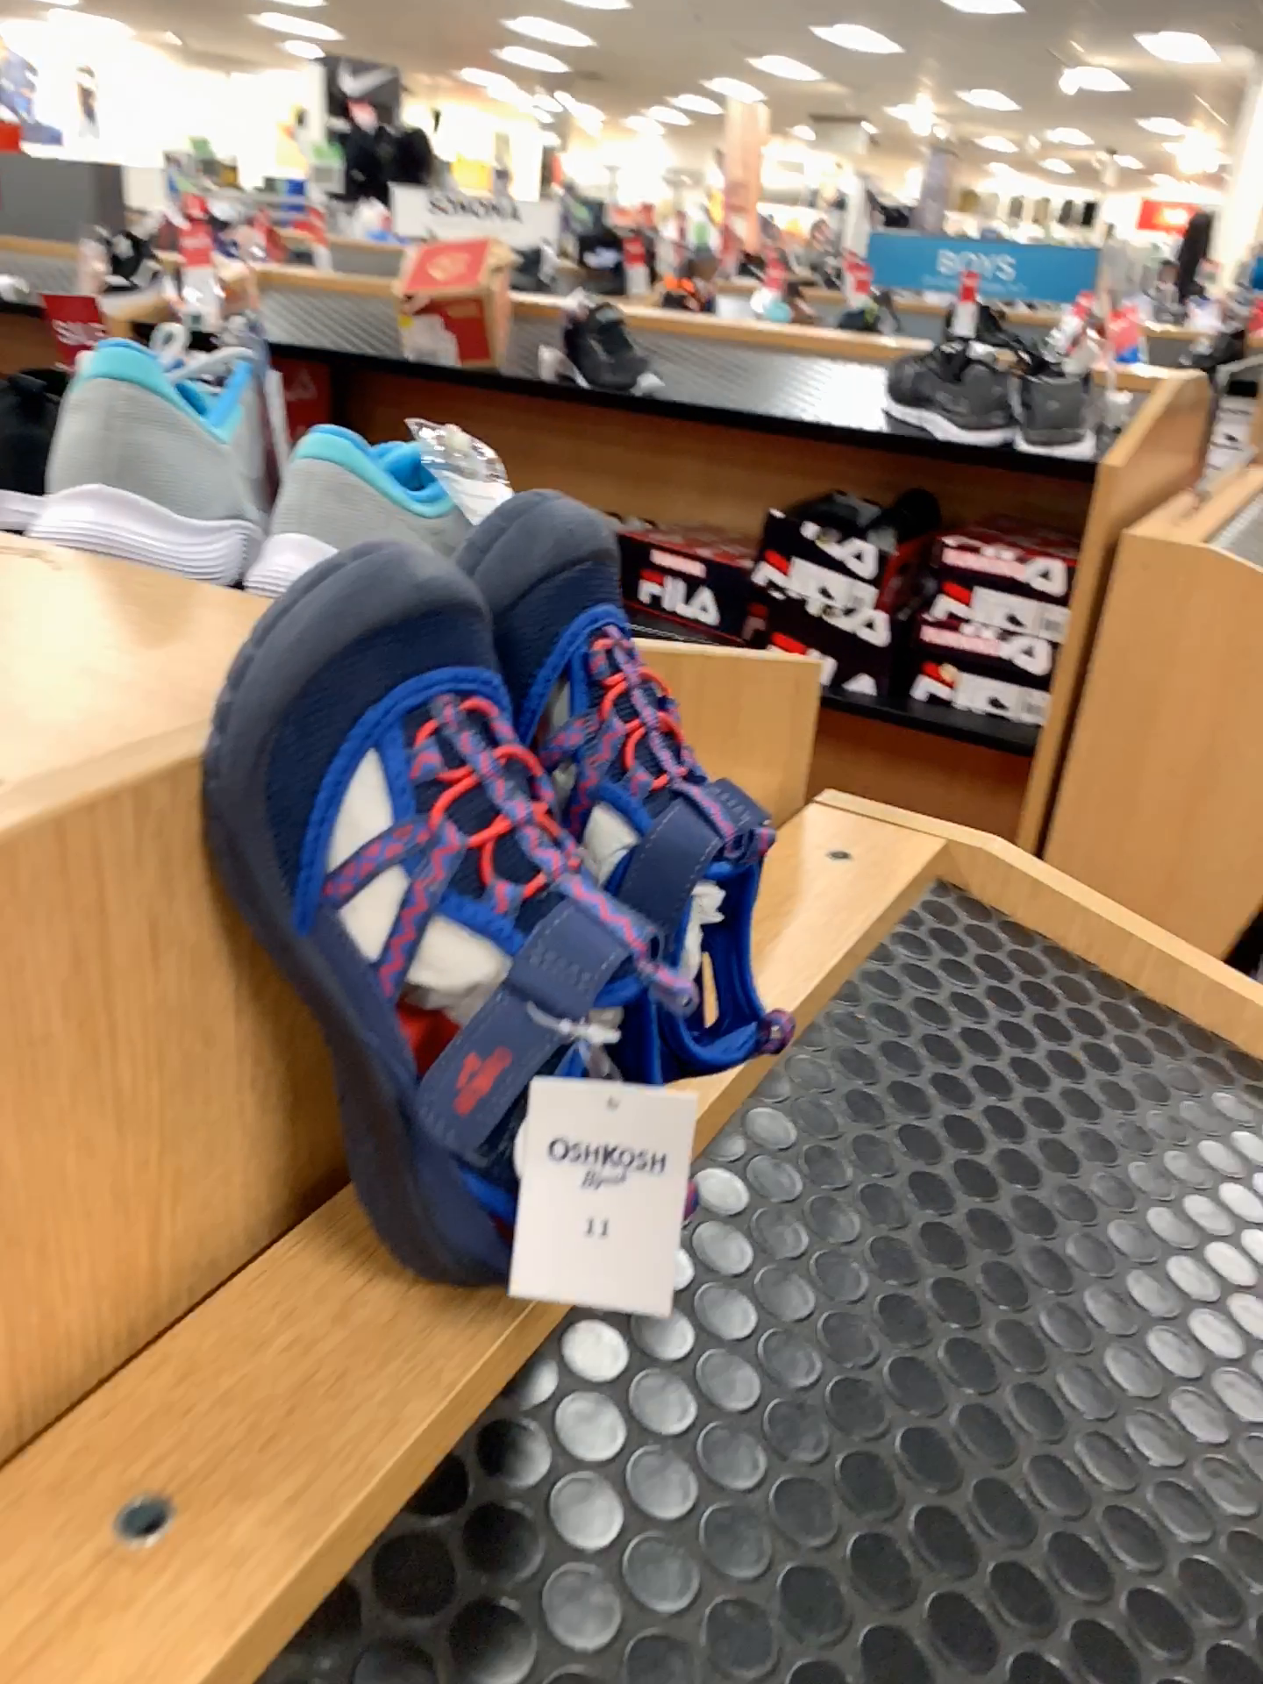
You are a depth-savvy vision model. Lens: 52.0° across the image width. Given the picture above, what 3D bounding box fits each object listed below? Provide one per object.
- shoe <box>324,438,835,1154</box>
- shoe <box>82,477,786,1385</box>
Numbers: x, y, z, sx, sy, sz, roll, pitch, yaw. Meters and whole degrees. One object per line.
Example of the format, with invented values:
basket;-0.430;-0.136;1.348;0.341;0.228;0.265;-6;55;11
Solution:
shoe;-0.009;-0.013;0.391;0.080;0.189;0.080;-5;17;32
shoe;-0.042;0.020;0.323;0.100;0.189;0.080;-4;16;34
